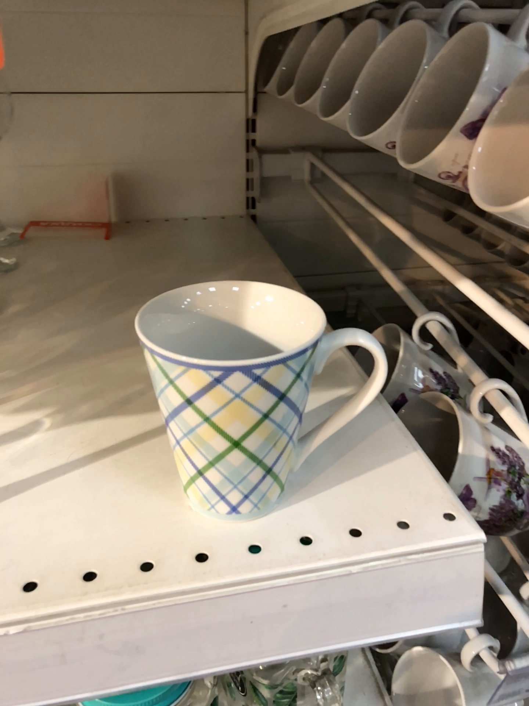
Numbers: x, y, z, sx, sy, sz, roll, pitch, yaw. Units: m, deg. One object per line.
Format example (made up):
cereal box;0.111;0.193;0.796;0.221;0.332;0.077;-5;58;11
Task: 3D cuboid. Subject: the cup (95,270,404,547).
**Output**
cup;-0.011;0.019;0.274;0.115;0.085;0.089;-4;29;-8
